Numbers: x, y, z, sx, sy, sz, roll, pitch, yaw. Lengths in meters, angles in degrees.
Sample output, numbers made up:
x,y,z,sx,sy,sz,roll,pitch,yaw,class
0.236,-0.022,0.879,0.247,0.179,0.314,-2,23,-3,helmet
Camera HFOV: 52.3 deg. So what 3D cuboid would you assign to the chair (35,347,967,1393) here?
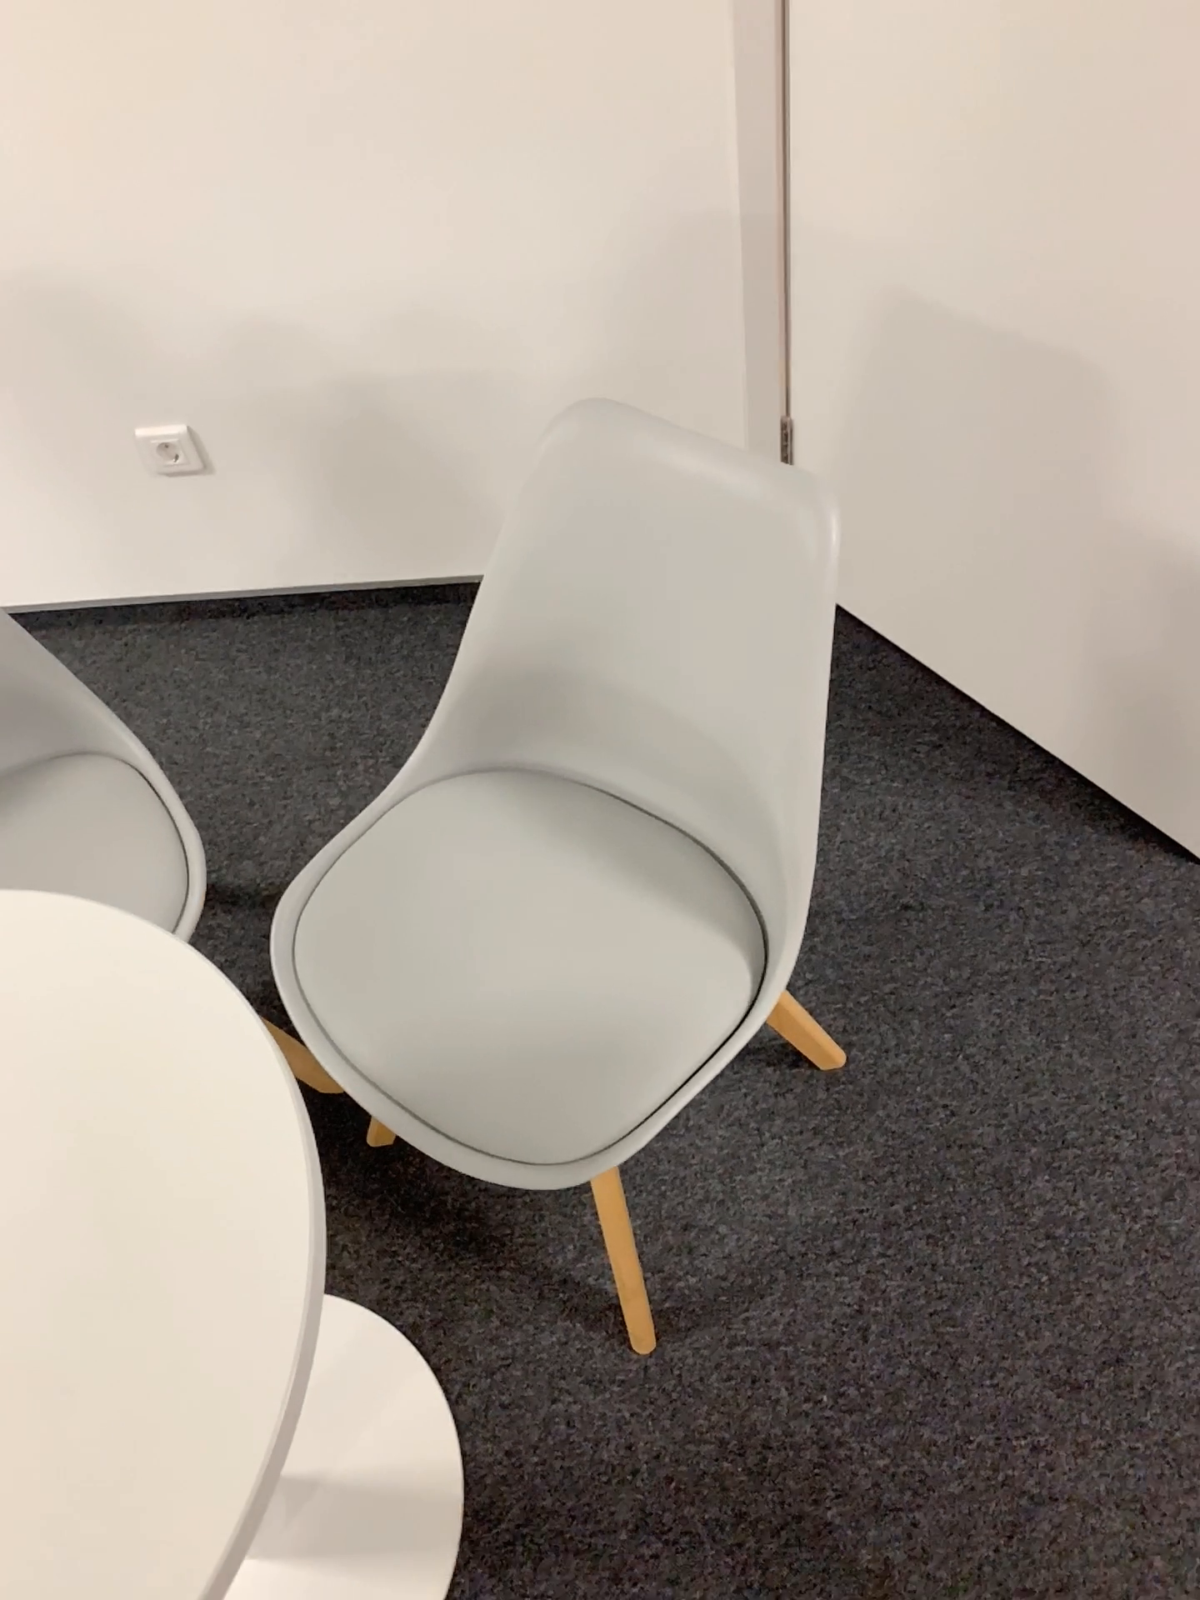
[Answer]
x,y,z,sx,sy,sz,roll,pitch,yaw,class
-0.019,0.114,1.195,0.444,0.811,0.523,30,63,28,chair
